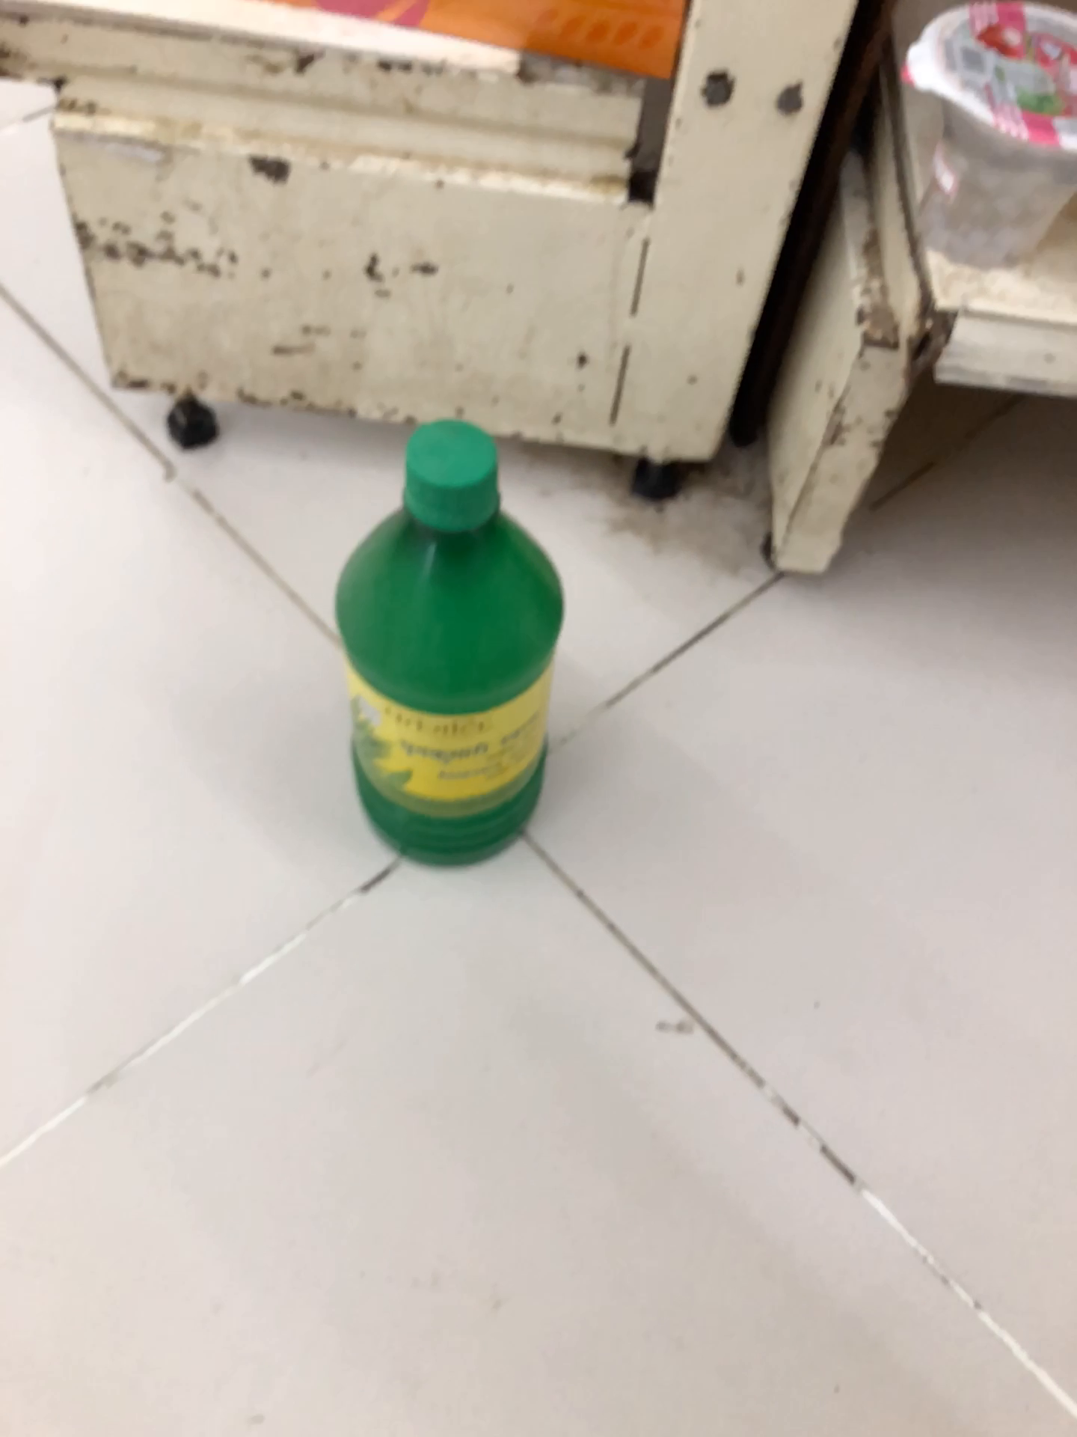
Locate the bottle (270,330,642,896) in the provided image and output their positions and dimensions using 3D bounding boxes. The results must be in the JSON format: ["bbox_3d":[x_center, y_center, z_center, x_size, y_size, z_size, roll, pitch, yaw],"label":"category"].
[{"bbox_3d":[-0.036,-0.029,0.486,0.100,0.219,0.100,2,58,-3],"label":"bottle"}]
